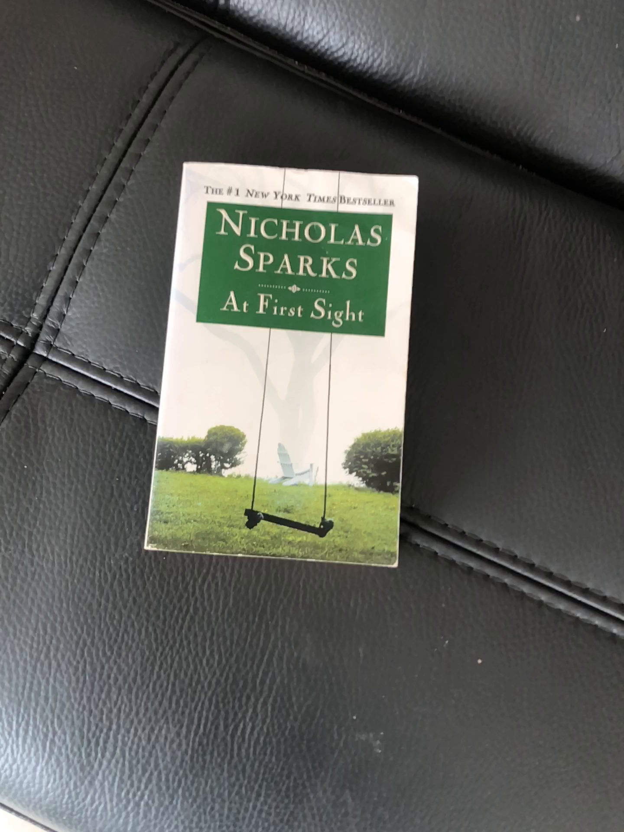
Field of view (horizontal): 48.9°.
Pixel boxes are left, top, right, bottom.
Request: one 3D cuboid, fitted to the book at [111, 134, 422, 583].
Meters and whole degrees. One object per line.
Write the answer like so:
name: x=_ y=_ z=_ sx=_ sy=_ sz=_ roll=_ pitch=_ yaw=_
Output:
book: x=-0.018 y=-0.026 z=0.315 sx=0.120 sy=0.030 sz=0.190 roll=5 pitch=83 yaw=-2
